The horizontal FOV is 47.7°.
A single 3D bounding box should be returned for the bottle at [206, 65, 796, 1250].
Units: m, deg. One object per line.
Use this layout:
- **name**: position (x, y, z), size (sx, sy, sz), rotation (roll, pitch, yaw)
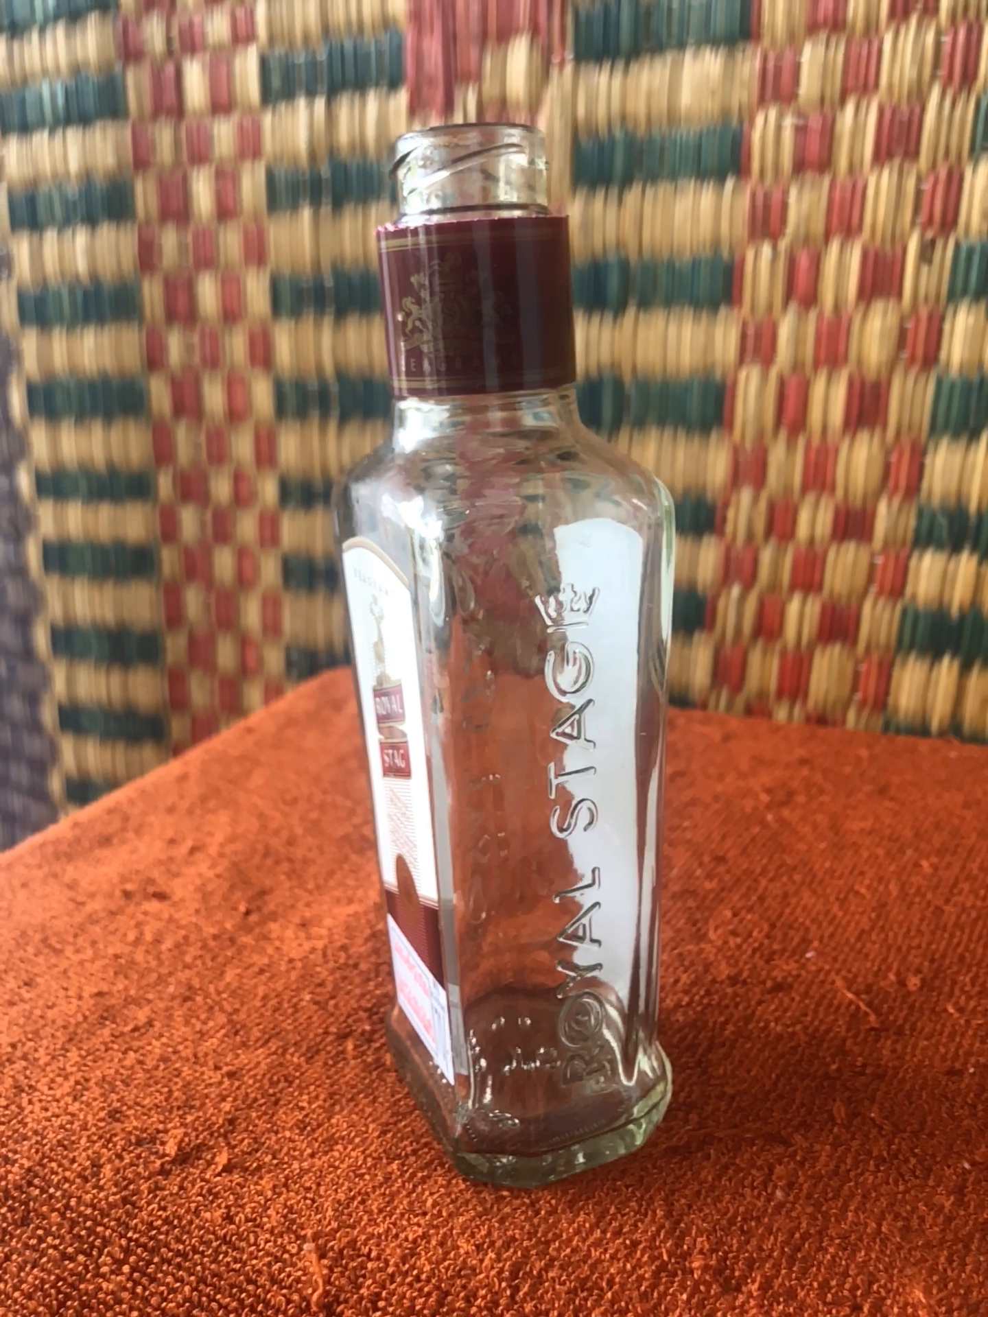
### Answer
- **bottle**: position (0.004, 0.000, 0.179), size (0.060, 0.159, 0.060), rotation (-5, 21, 2)
